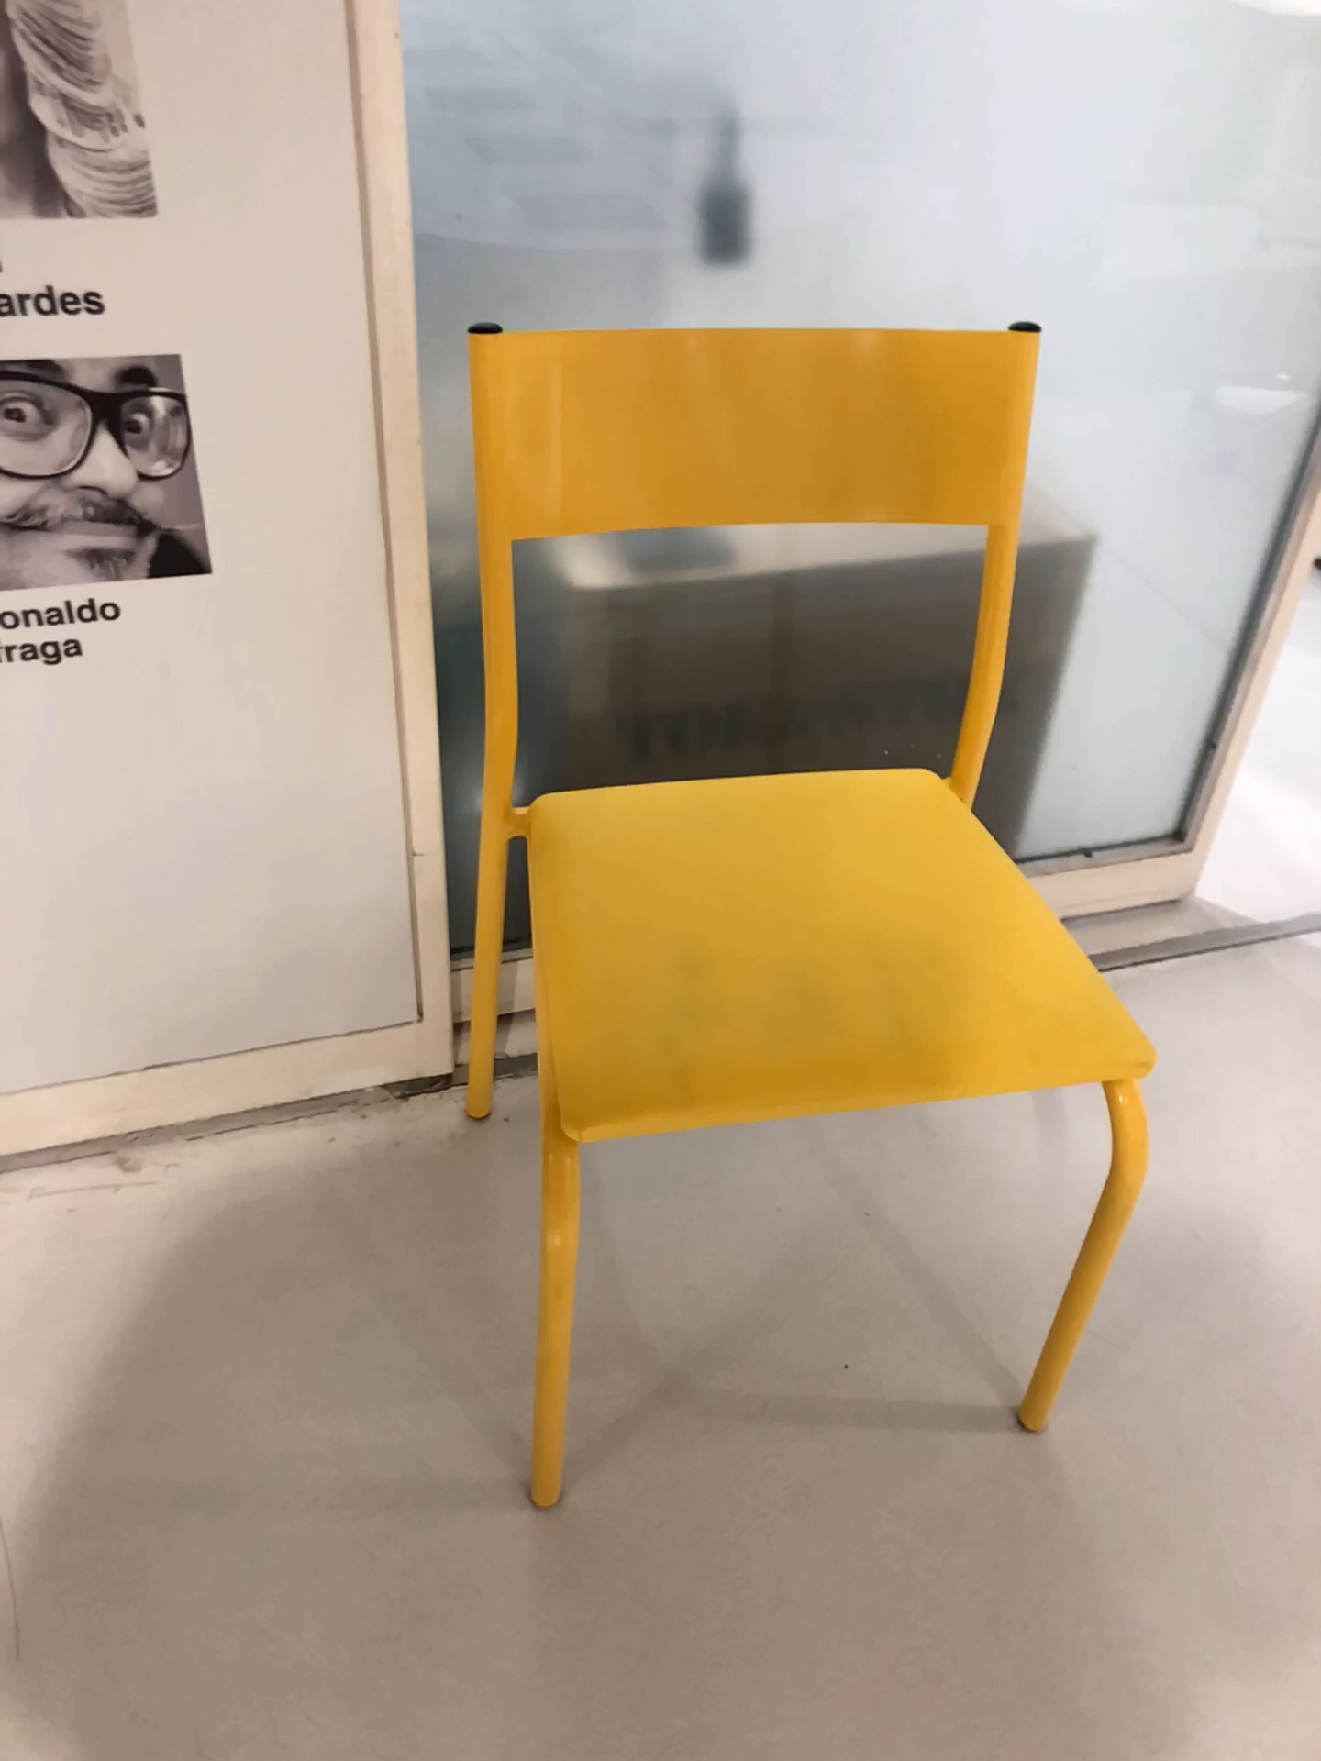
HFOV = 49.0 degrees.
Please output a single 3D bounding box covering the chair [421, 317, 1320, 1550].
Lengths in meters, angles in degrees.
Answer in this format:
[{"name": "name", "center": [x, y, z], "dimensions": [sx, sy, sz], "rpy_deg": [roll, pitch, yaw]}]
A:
[{"name": "chair", "center": [0.095, 0.042, 1.150], "dimensions": [0.490, 0.784, 0.524], "rpy_deg": [-5, 39, -10]}]
